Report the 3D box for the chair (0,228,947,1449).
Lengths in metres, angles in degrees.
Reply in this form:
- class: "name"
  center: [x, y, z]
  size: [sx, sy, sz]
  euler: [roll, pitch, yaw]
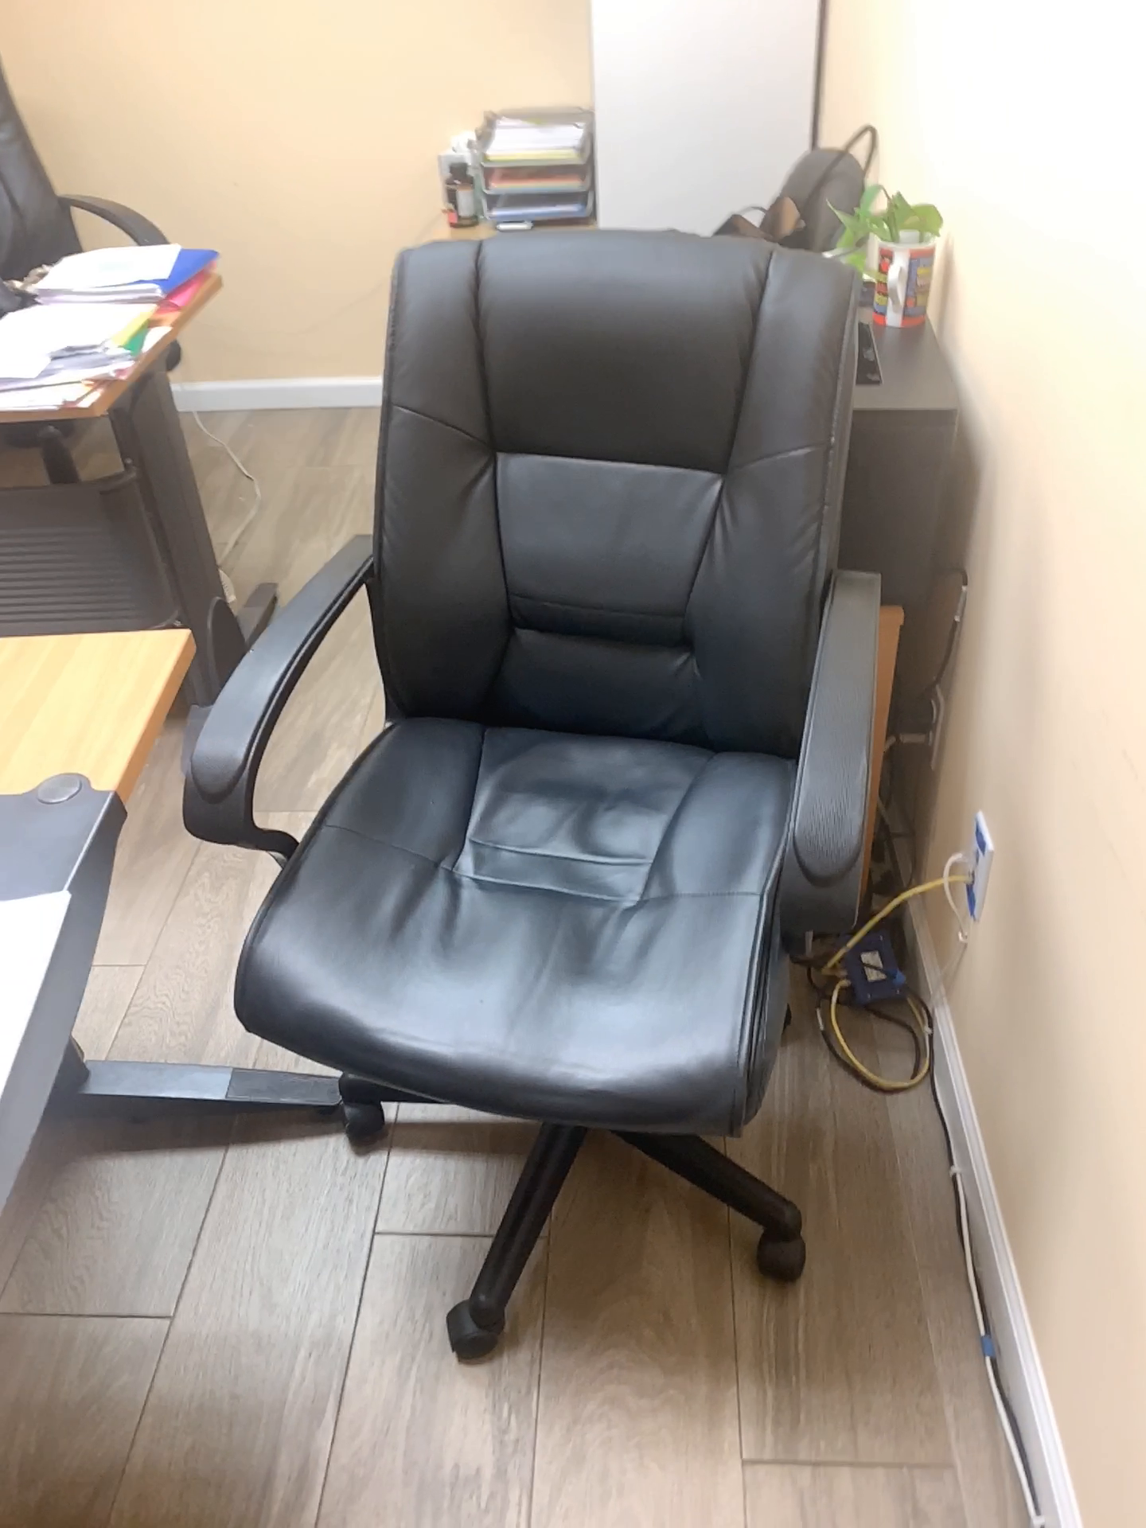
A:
- class: "chair"
  center: [-0.018, 0.058, 1.168]
  size: [0.620, 0.946, 0.665]
  euler: [7, 39, 13]
